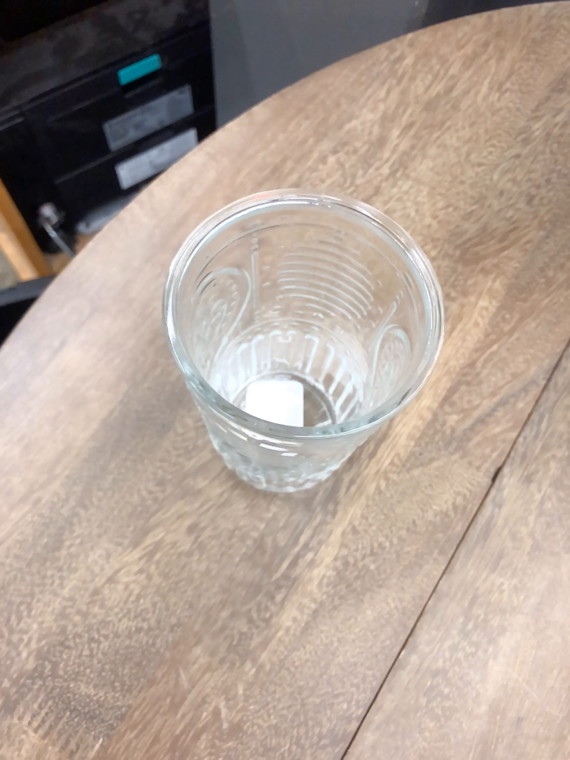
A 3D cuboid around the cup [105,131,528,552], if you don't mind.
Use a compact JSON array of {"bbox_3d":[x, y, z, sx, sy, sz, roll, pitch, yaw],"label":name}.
[{"bbox_3d":[0.005,-0.004,0.227,0.088,0.107,0.085,1,69,-2],"label":"cup"}]
